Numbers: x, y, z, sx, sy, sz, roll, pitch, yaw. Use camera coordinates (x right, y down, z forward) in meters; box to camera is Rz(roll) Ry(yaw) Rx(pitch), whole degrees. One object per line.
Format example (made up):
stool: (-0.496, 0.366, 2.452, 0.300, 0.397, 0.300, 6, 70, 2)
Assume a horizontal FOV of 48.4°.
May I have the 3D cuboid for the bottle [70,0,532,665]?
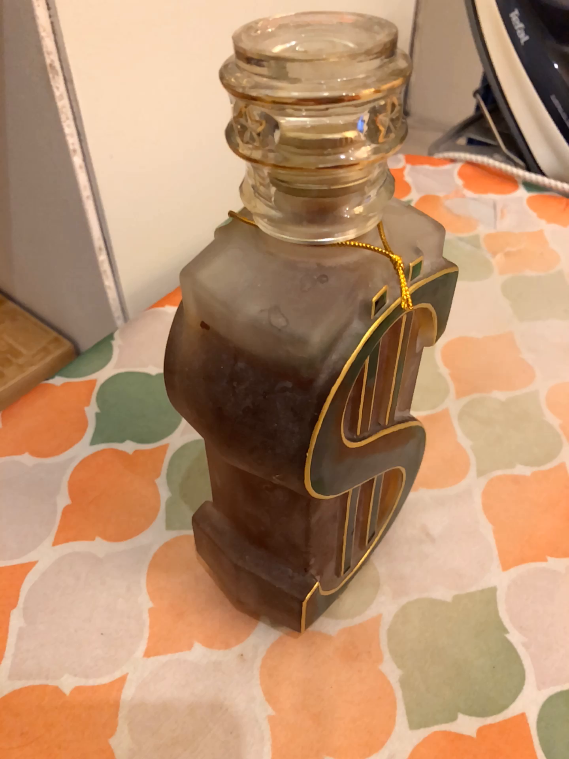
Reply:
bottle: (0.011, -0.001, 0.234, 0.064, 0.233, 0.100, 29, 52, 27)
